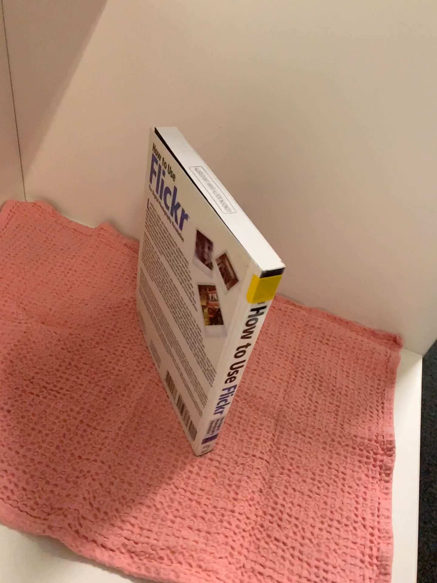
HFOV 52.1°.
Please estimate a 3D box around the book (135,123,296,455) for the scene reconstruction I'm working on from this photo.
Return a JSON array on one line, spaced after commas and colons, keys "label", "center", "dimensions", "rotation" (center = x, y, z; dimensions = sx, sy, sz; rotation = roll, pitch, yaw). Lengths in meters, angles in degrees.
[{"label": "book", "center": [-0.026, 0.002, 0.402], "dimensions": [0.025, 0.228, 0.192], "rotation": [-10, 47, -26]}]
